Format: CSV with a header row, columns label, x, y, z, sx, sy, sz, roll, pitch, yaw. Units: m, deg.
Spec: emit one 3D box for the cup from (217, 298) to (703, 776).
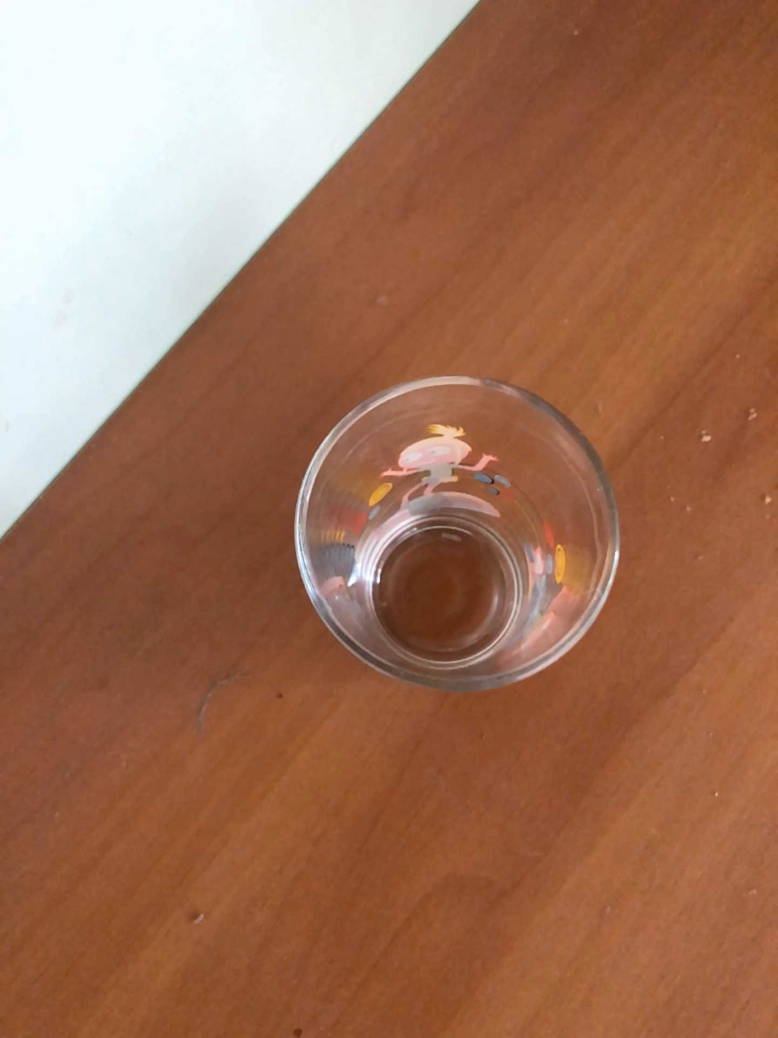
label,x,y,z,sx,sy,sz,roll,pitch,yaw
cup,0.016,0.012,0.221,0.070,0.100,0.070,0,77,2
